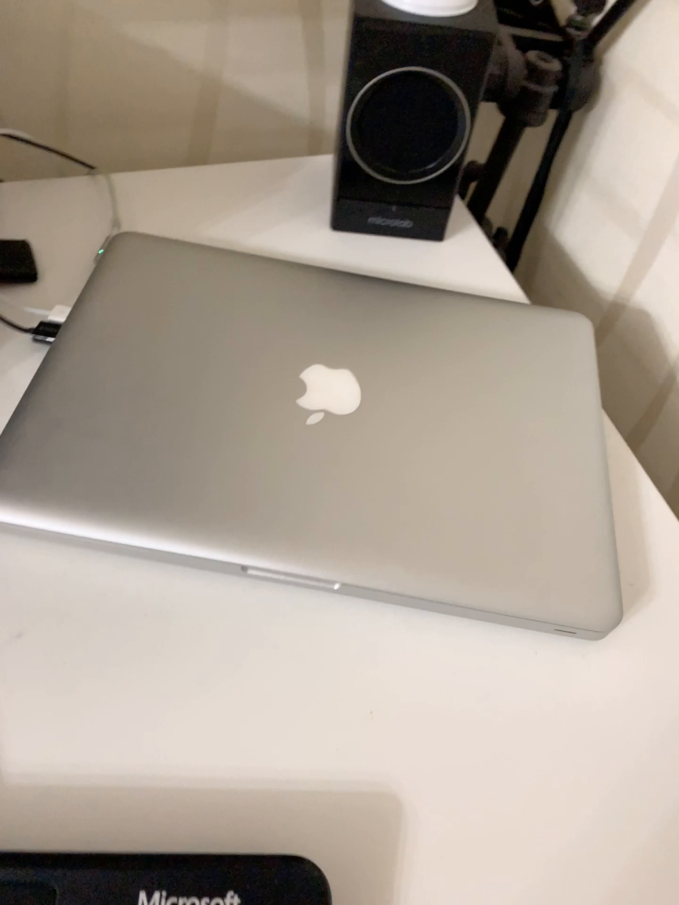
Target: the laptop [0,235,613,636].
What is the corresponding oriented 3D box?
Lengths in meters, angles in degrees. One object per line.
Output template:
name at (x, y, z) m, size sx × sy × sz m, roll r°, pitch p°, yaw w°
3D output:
laptop at (-0.007, -0.026, 0.396) m, size 0.304 × 0.011 × 0.208 m, roll 10°, pitch 55°, yaw 1°
